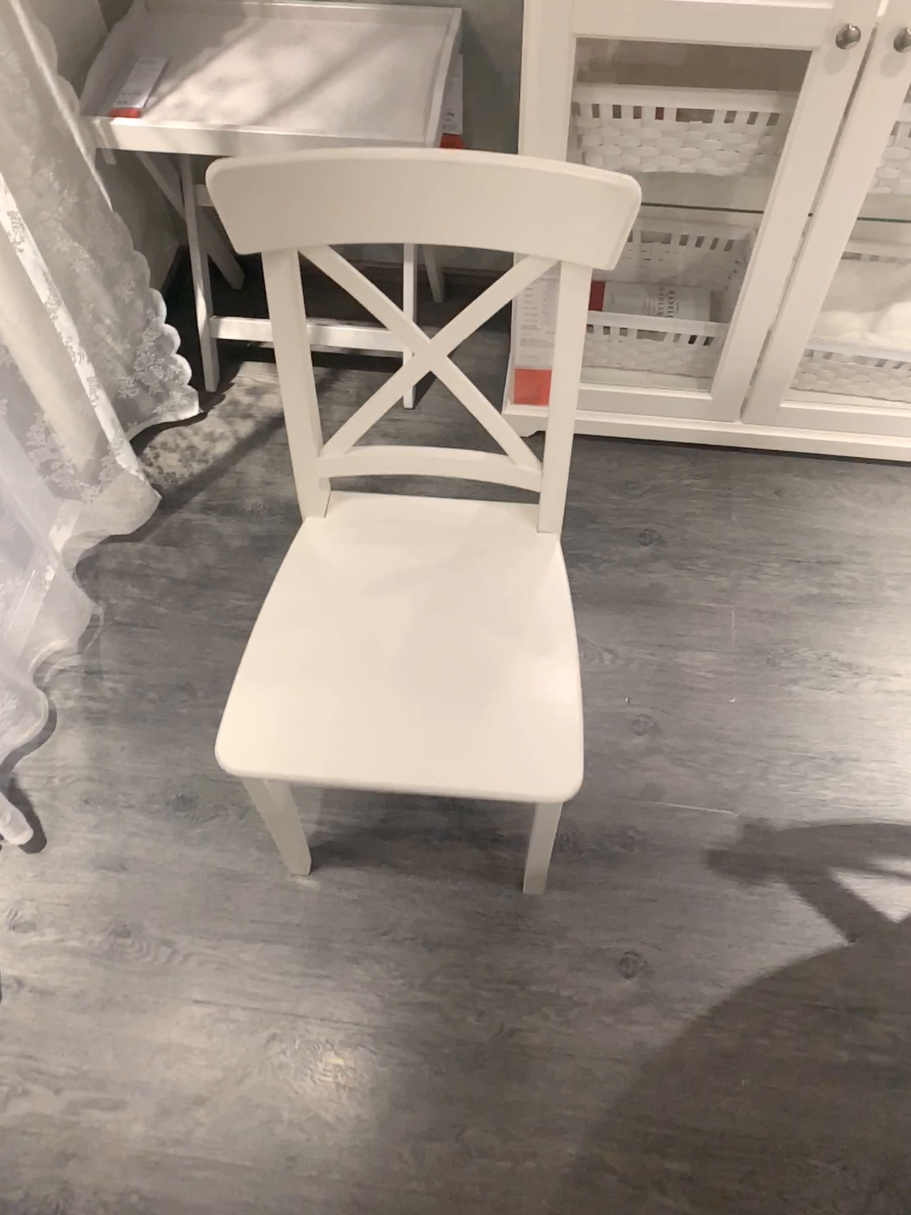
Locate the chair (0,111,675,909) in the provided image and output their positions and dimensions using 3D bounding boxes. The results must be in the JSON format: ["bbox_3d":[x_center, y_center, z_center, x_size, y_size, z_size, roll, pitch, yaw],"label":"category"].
[{"bbox_3d":[-0.048,-0.016,1.086,0.440,0.858,0.491,4,59,4],"label":"chair"}]
